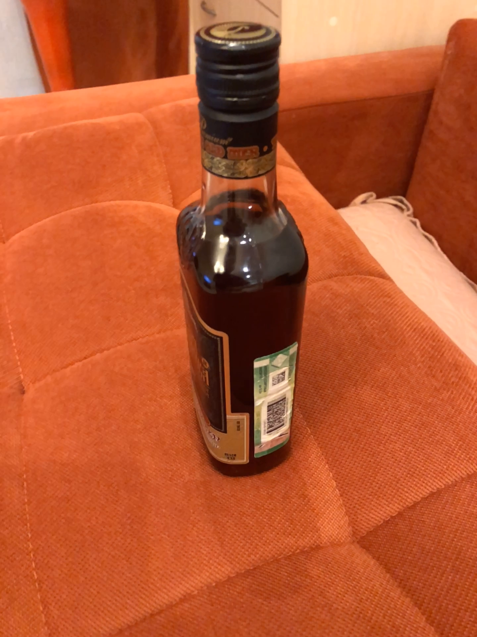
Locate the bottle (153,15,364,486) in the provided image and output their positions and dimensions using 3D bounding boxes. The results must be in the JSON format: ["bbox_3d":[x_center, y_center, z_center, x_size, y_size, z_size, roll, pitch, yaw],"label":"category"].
[{"bbox_3d":[0.004,-0.013,0.274,0.056,0.237,0.074,-12,45,-12],"label":"bottle"}]
